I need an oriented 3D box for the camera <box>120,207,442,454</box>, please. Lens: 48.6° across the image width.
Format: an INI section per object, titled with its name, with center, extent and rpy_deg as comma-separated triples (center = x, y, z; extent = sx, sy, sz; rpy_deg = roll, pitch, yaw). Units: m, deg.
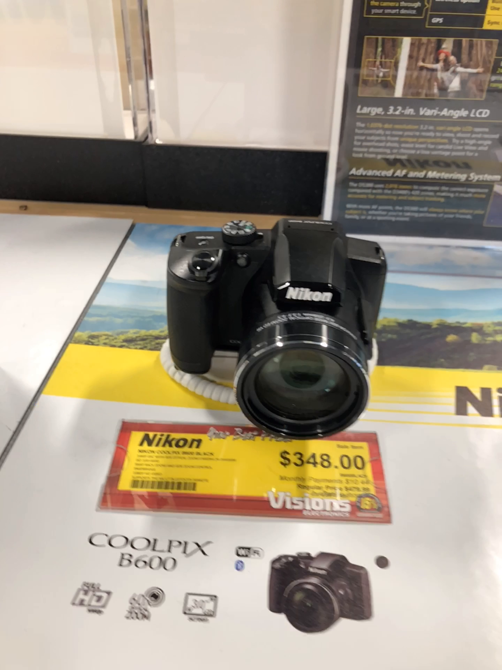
[camera]
center = 0.015, -0.009, 0.290
extent = 0.130, 0.070, 0.111
rpy_deg = 4, 36, 4
